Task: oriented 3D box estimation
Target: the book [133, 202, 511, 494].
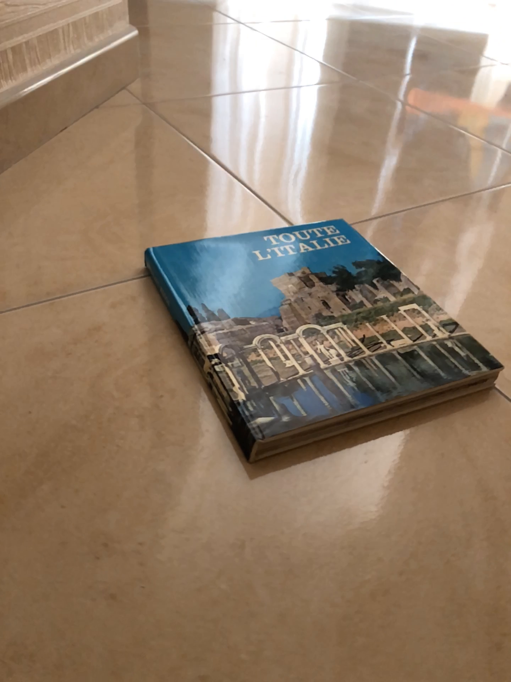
[{"bbox_3d":[0.045,-0.026,0.524,0.241,0.050,0.291,-13,44,-22],"label":"book"}]
